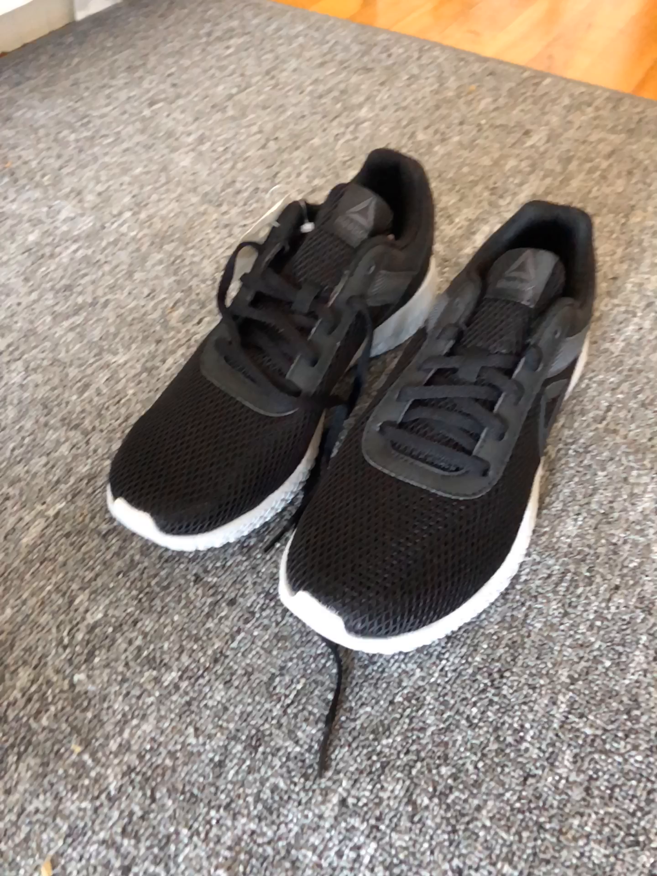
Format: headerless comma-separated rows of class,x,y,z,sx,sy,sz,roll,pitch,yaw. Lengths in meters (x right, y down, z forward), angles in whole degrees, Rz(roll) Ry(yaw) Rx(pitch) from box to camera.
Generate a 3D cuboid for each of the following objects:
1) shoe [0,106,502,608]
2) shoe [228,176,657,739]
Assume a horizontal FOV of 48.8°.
shoe,-0.023,-0.070,0.422,0.116,0.099,0.302,26,55,20
shoe,0.083,-0.014,0.398,0.110,0.099,0.302,24,54,19
